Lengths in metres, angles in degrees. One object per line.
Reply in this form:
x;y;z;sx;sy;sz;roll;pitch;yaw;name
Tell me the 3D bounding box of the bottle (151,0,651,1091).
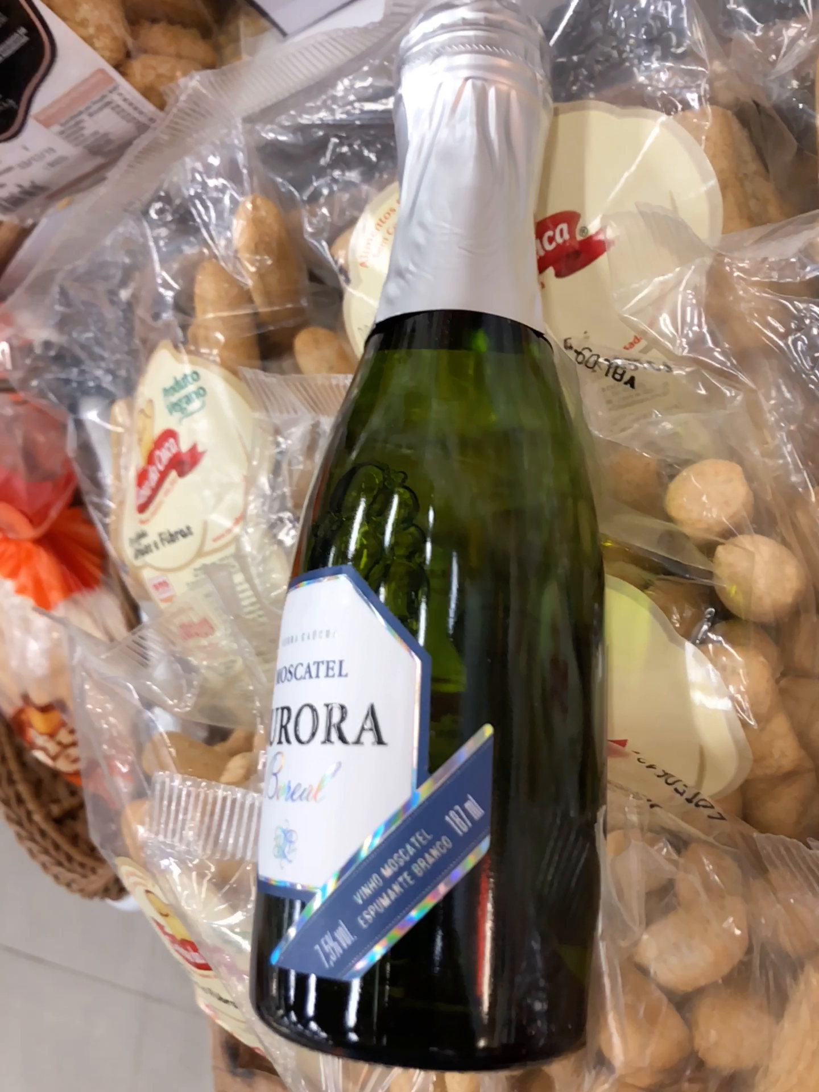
0.003;-0.011;0.160;0.060;0.050;0.200;-5;78;35;bottle
